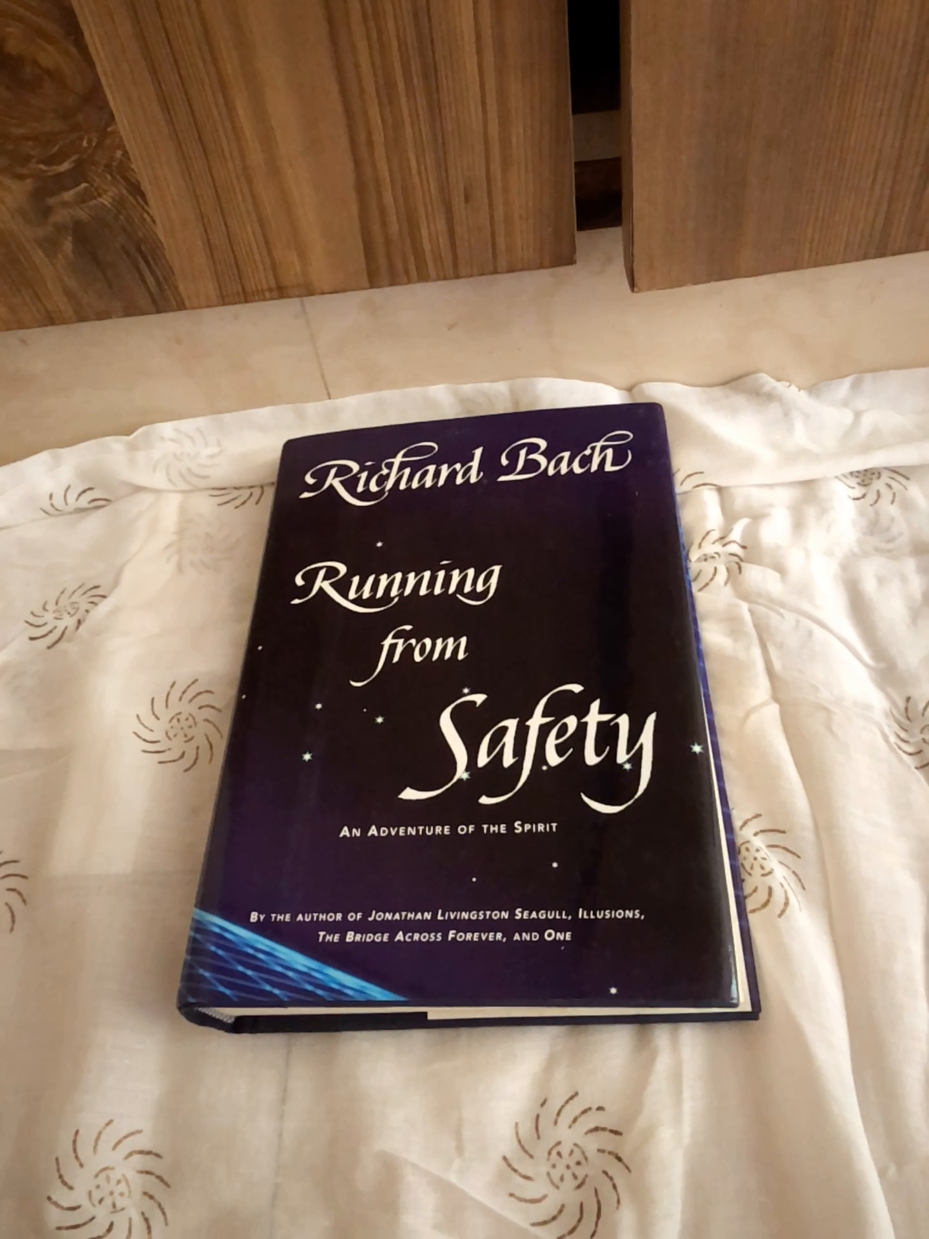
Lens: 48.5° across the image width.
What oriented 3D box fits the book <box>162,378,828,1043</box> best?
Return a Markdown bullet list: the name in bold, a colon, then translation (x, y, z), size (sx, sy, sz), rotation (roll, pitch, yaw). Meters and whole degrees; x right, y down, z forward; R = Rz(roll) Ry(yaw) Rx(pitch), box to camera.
- **book**: translation (0.009, 0.011, 0.359), size (0.170, 0.040, 0.251), rotation (0, 50, 1)
